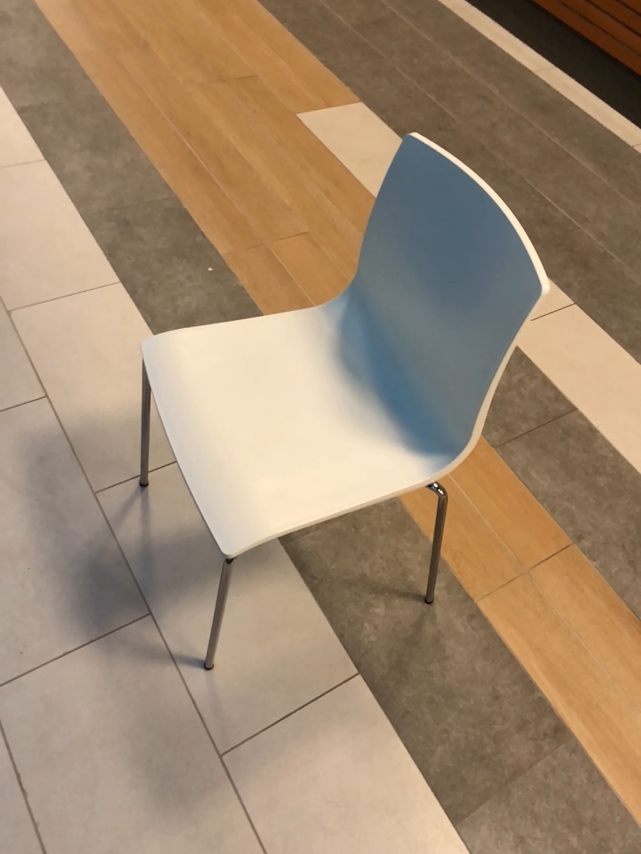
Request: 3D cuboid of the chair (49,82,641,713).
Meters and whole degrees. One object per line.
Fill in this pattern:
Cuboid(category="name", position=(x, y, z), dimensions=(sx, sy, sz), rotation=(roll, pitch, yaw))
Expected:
Cuboid(category="chair", position=(-0.036, -0.024, 1.174), dimensions=(0.551, 0.776, 0.582), rotation=(-18, 58, -22))
